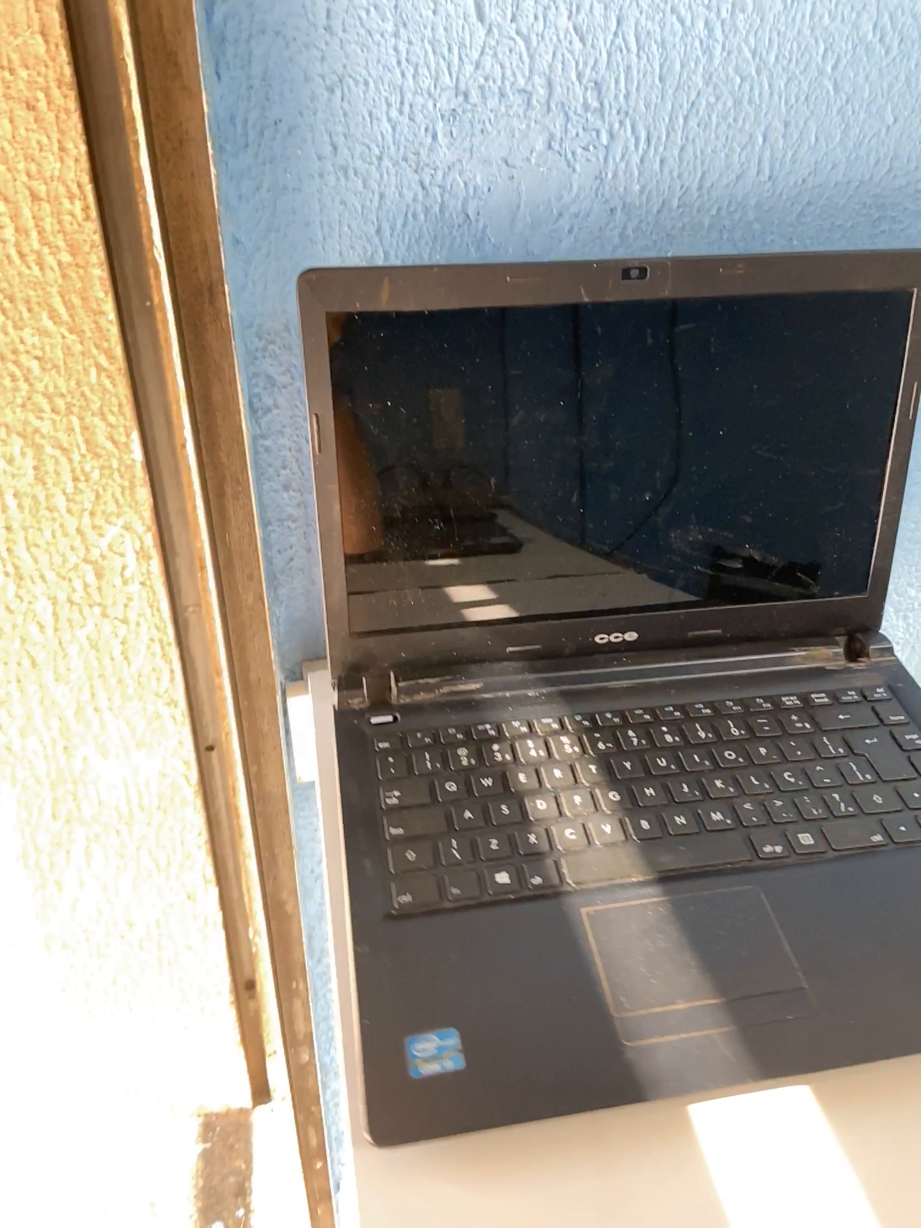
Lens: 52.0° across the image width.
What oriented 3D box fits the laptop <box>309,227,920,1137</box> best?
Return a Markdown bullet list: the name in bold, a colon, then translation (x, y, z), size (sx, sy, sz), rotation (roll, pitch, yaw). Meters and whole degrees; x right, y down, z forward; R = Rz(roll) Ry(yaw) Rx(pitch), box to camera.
- **laptop**: translation (0.113, -0.009, 0.431), size (0.333, 0.210, 0.314), rotation (-5, 38, -8)
